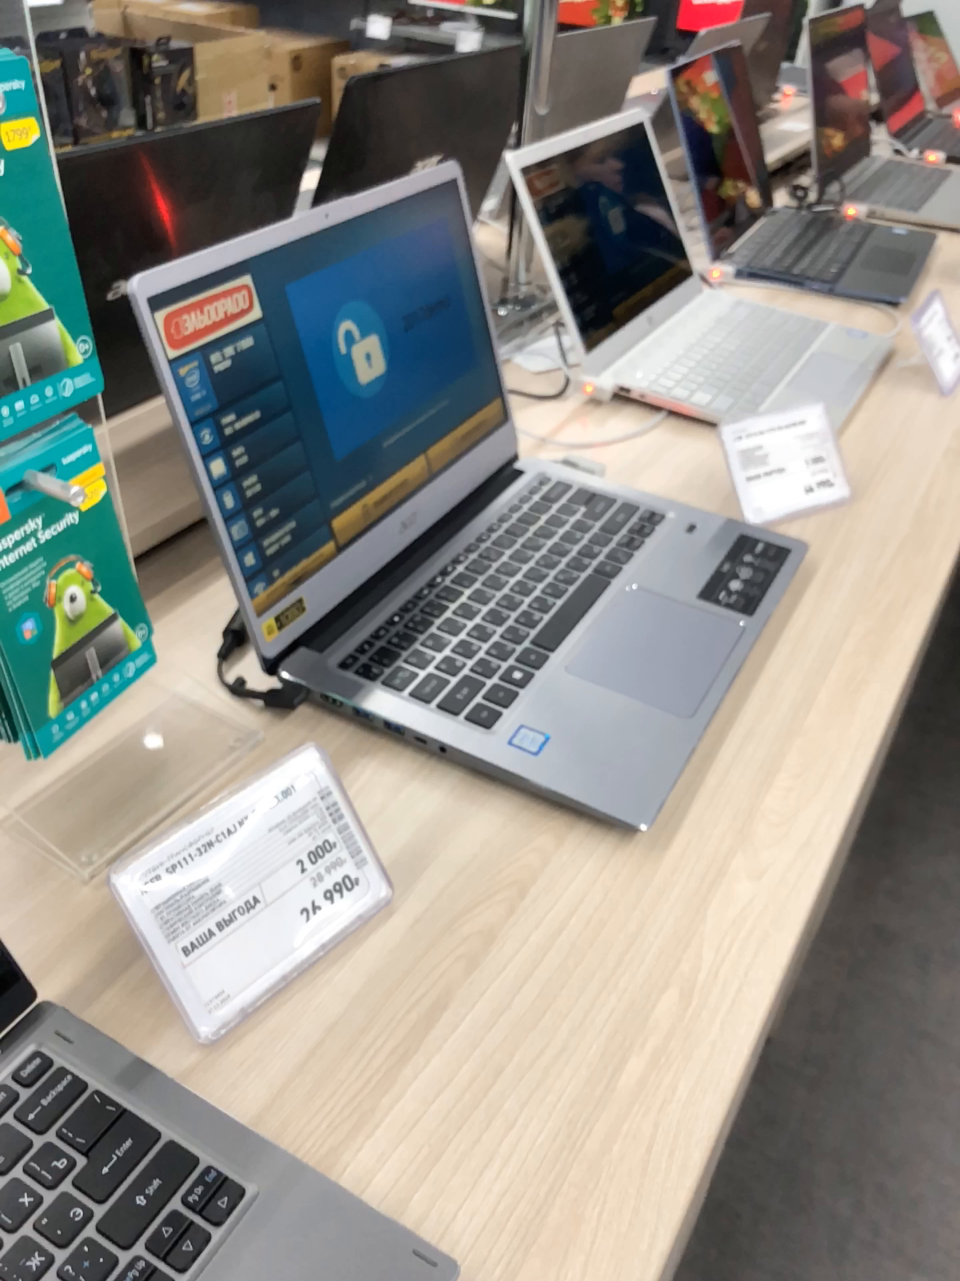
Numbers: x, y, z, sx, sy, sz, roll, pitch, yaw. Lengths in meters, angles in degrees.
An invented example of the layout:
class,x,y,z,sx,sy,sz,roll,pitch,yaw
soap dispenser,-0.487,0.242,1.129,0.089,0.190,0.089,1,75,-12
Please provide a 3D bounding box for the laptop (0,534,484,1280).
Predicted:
class,x,y,z,sx,sy,sz,roll,pitch,yaw
laptop,-0.203,0.160,0.254,0.311,0.159,0.280,24,40,20

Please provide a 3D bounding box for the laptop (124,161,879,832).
class,x,y,z,sx,sy,sz,roll,pitch,yaw
laptop,0.029,-0.119,0.634,0.302,0.197,0.316,21,40,19

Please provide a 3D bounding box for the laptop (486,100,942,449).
class,x,y,z,sx,sy,sz,roll,pitch,yaw
laptop,0.224,-0.364,1.009,0.322,0.164,0.306,23,40,19
